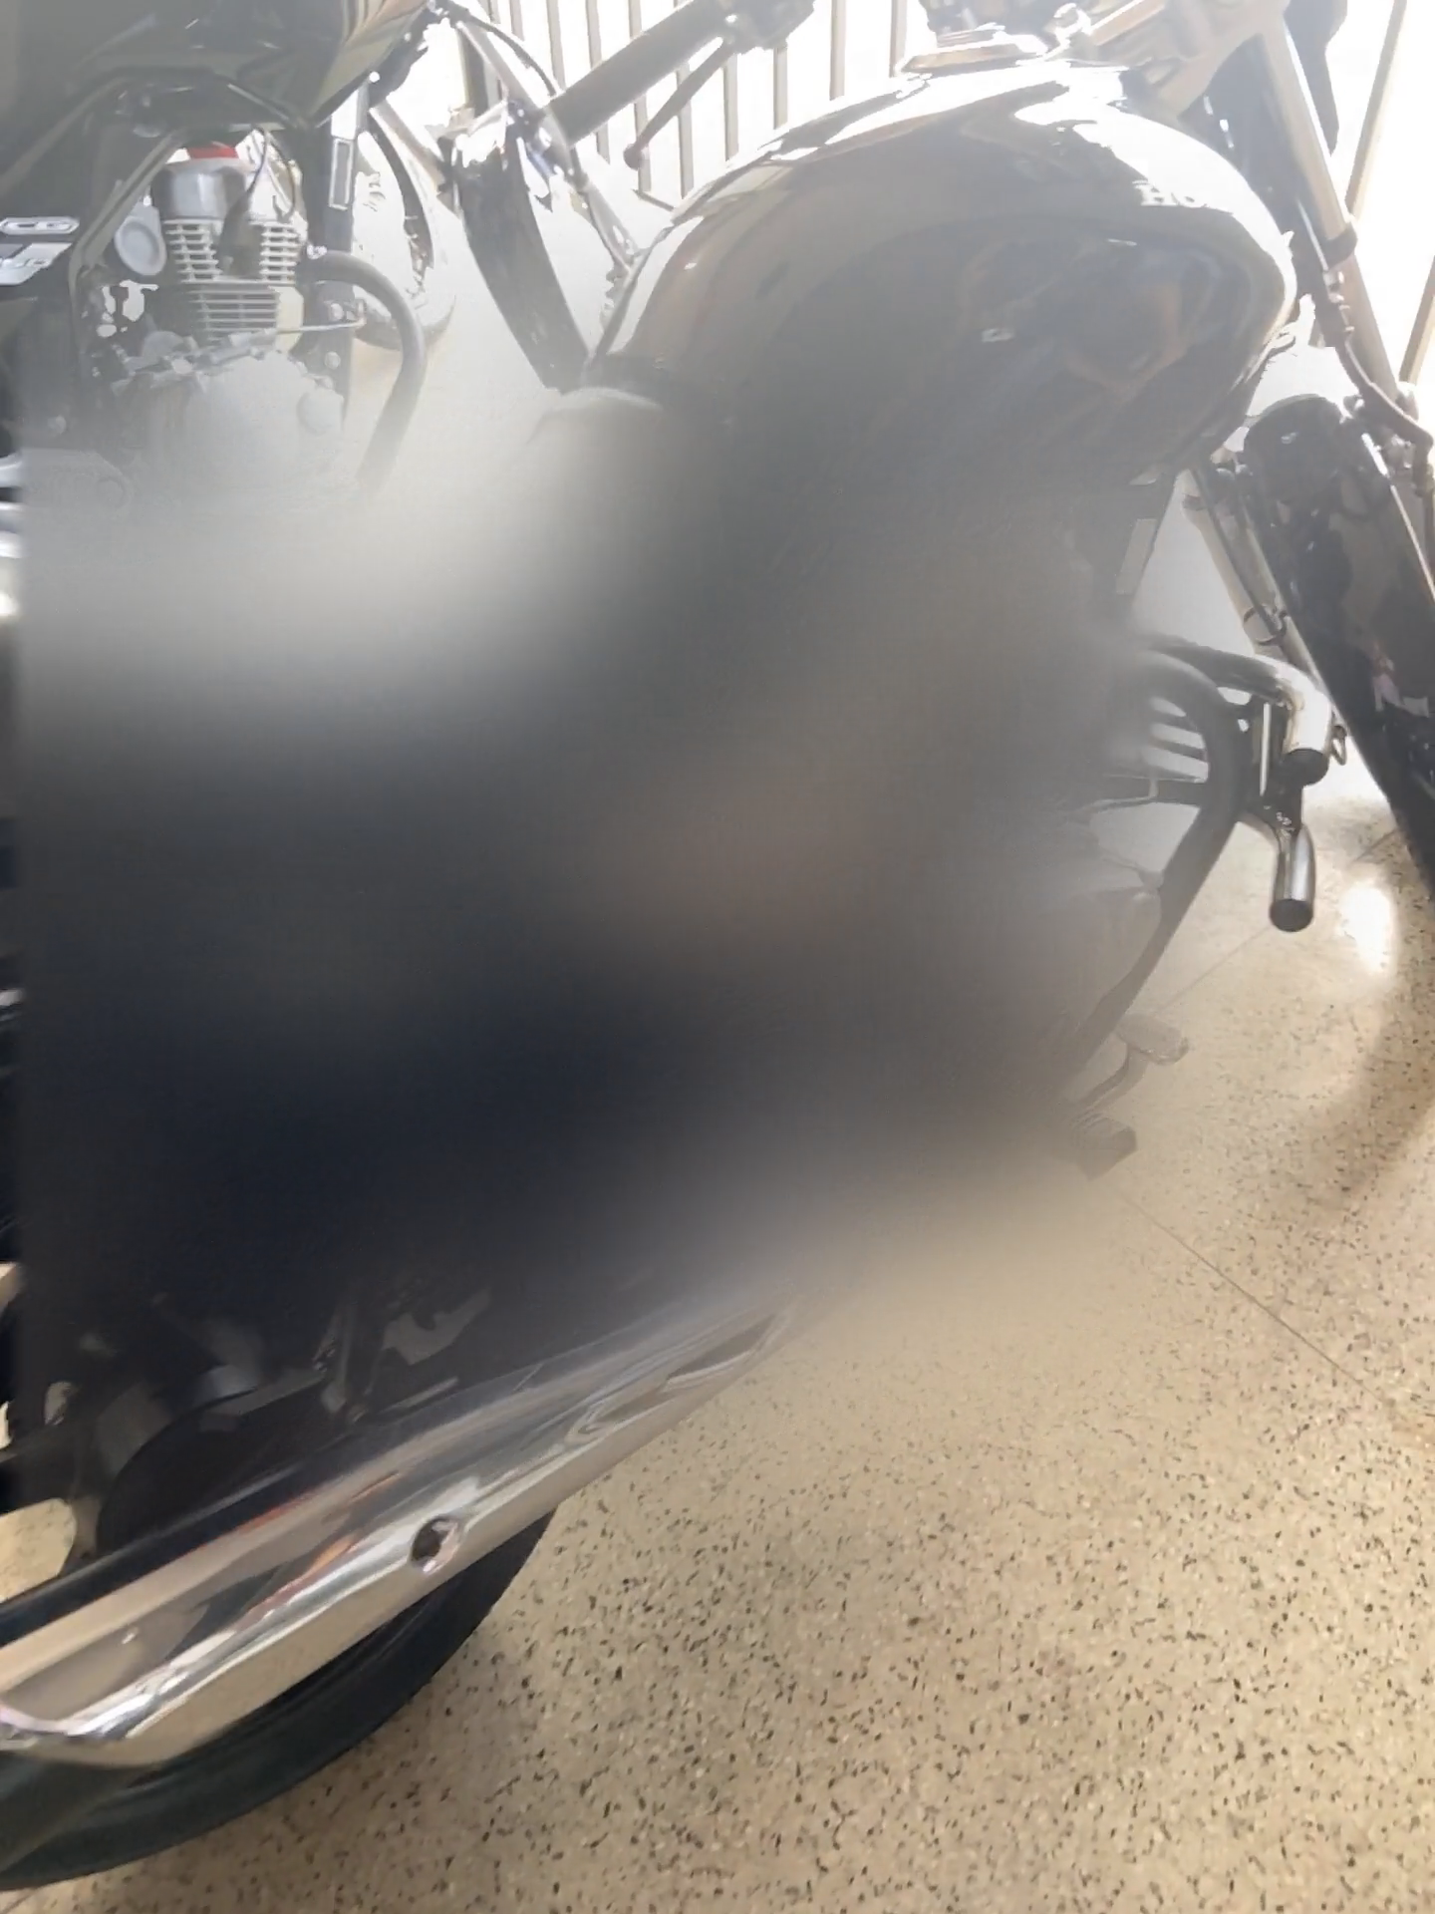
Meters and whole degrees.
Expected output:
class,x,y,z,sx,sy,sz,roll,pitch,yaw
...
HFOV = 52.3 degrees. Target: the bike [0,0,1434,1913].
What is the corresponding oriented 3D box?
class,x,y,z,sx,sy,sz,roll,pitch,yaw
bike,-0.006,-0.269,1.101,0.775,1.137,1.742,34,53,31
